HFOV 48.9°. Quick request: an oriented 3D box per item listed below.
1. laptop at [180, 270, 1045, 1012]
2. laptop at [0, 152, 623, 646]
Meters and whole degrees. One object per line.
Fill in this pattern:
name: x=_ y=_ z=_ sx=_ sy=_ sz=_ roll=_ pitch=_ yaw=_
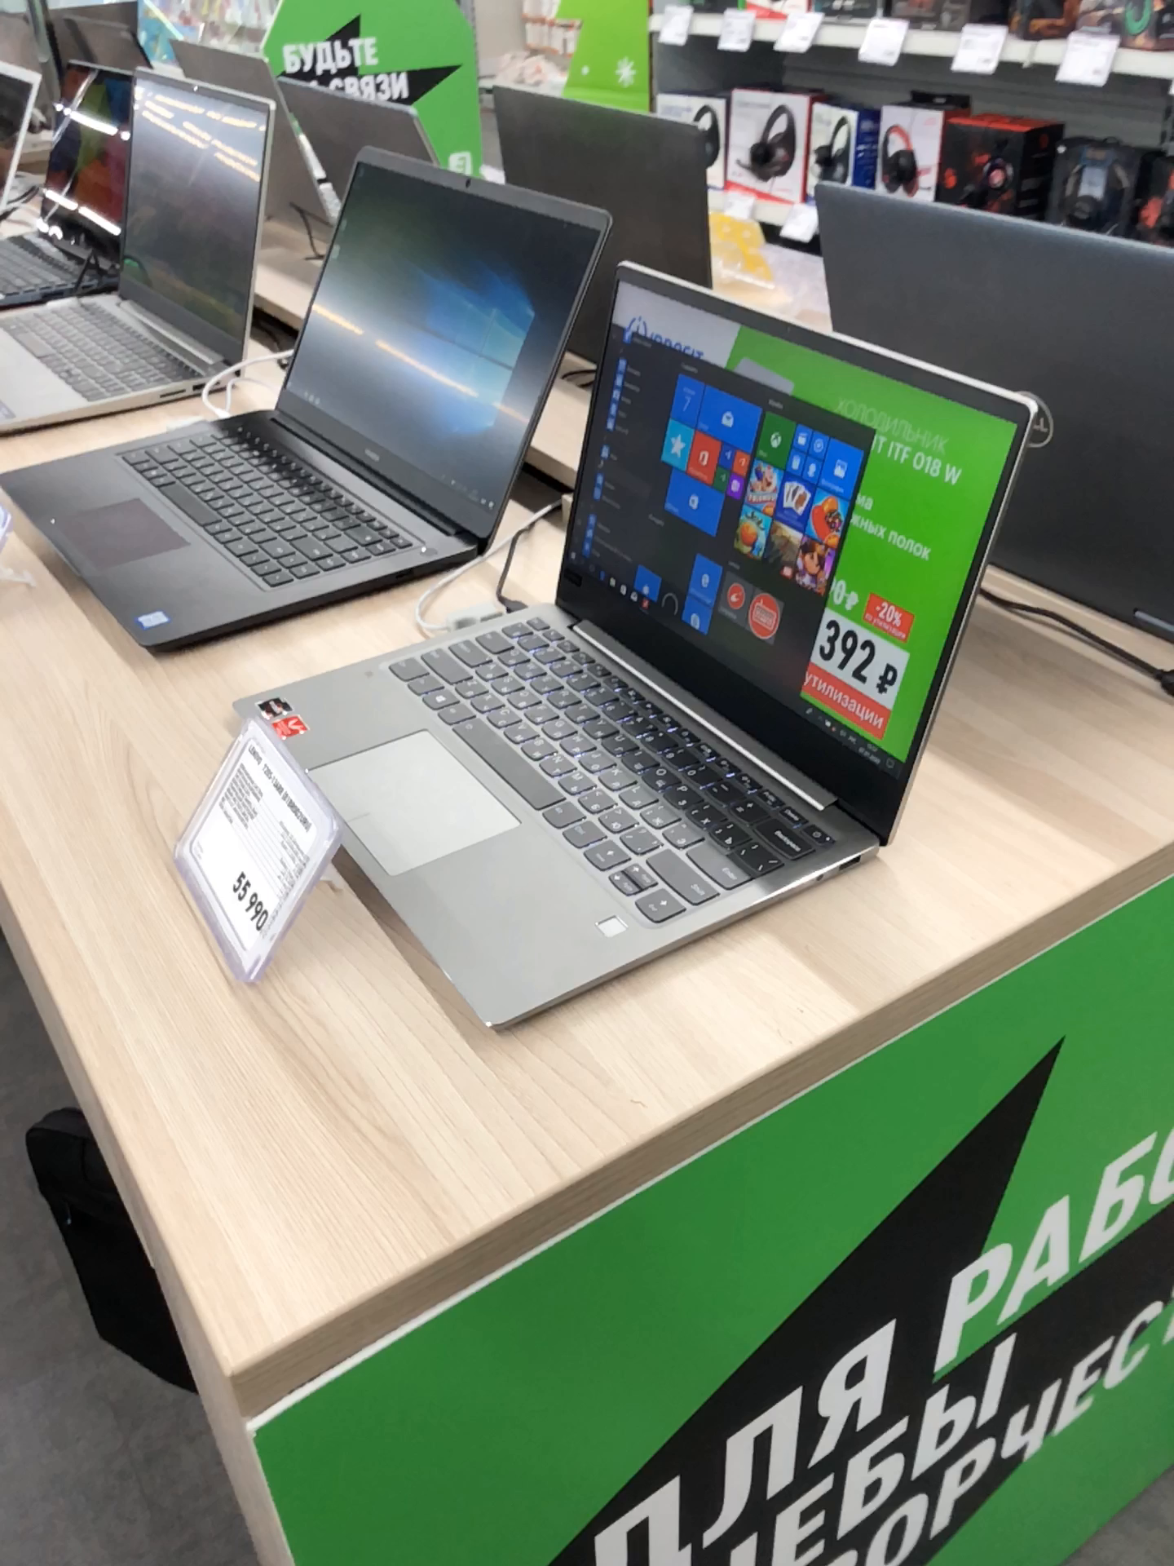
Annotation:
laptop: x=-0.002 y=-0.097 z=0.614 sx=0.262 sy=0.187 sz=0.286 roll=-22 pitch=39 yaw=-24
laptop: x=-0.215 y=-0.299 z=0.915 sx=0.340 sy=0.188 sz=0.345 roll=-23 pitch=40 yaw=-26
